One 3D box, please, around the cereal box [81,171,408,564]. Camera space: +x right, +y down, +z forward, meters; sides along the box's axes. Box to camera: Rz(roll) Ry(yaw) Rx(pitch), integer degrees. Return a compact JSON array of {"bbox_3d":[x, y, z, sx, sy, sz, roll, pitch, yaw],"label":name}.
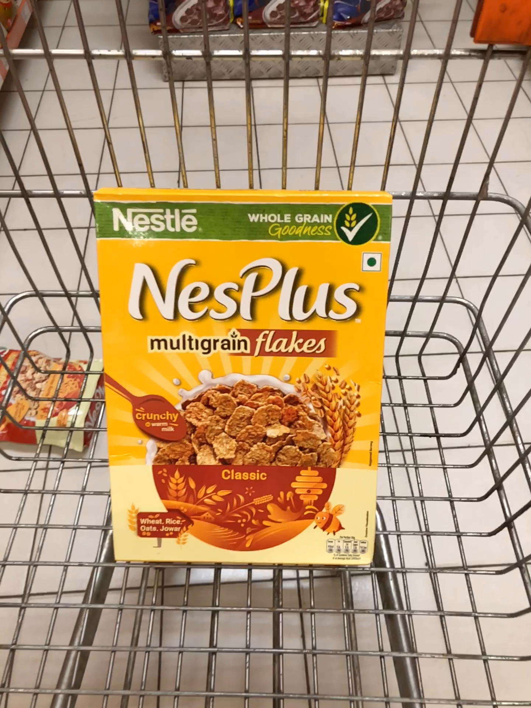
[{"bbox_3d":[-0.014,0.007,0.411,0.190,0.249,0.090,1,12,0],"label":"cereal box"}]
